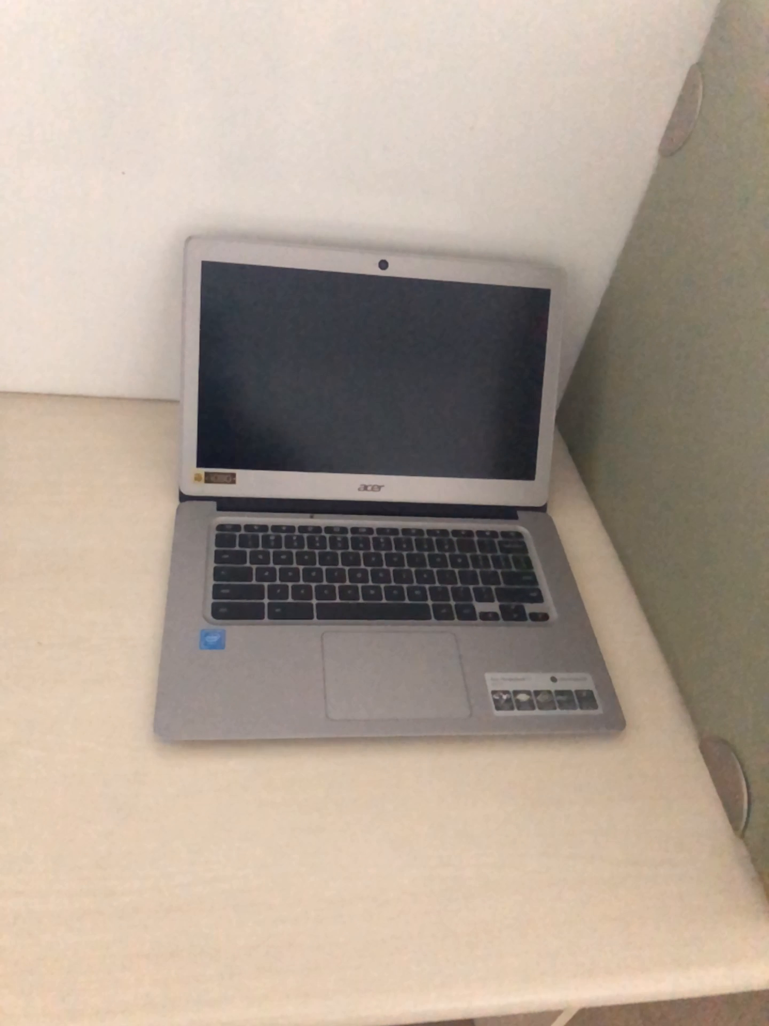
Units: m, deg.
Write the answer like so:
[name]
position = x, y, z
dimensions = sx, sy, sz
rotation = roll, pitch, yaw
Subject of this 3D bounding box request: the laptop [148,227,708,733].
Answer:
[laptop]
position = 0.001, -0.039, 0.657
dimensions = 0.322, 0.168, 0.367
rotation = 2, 44, -11
